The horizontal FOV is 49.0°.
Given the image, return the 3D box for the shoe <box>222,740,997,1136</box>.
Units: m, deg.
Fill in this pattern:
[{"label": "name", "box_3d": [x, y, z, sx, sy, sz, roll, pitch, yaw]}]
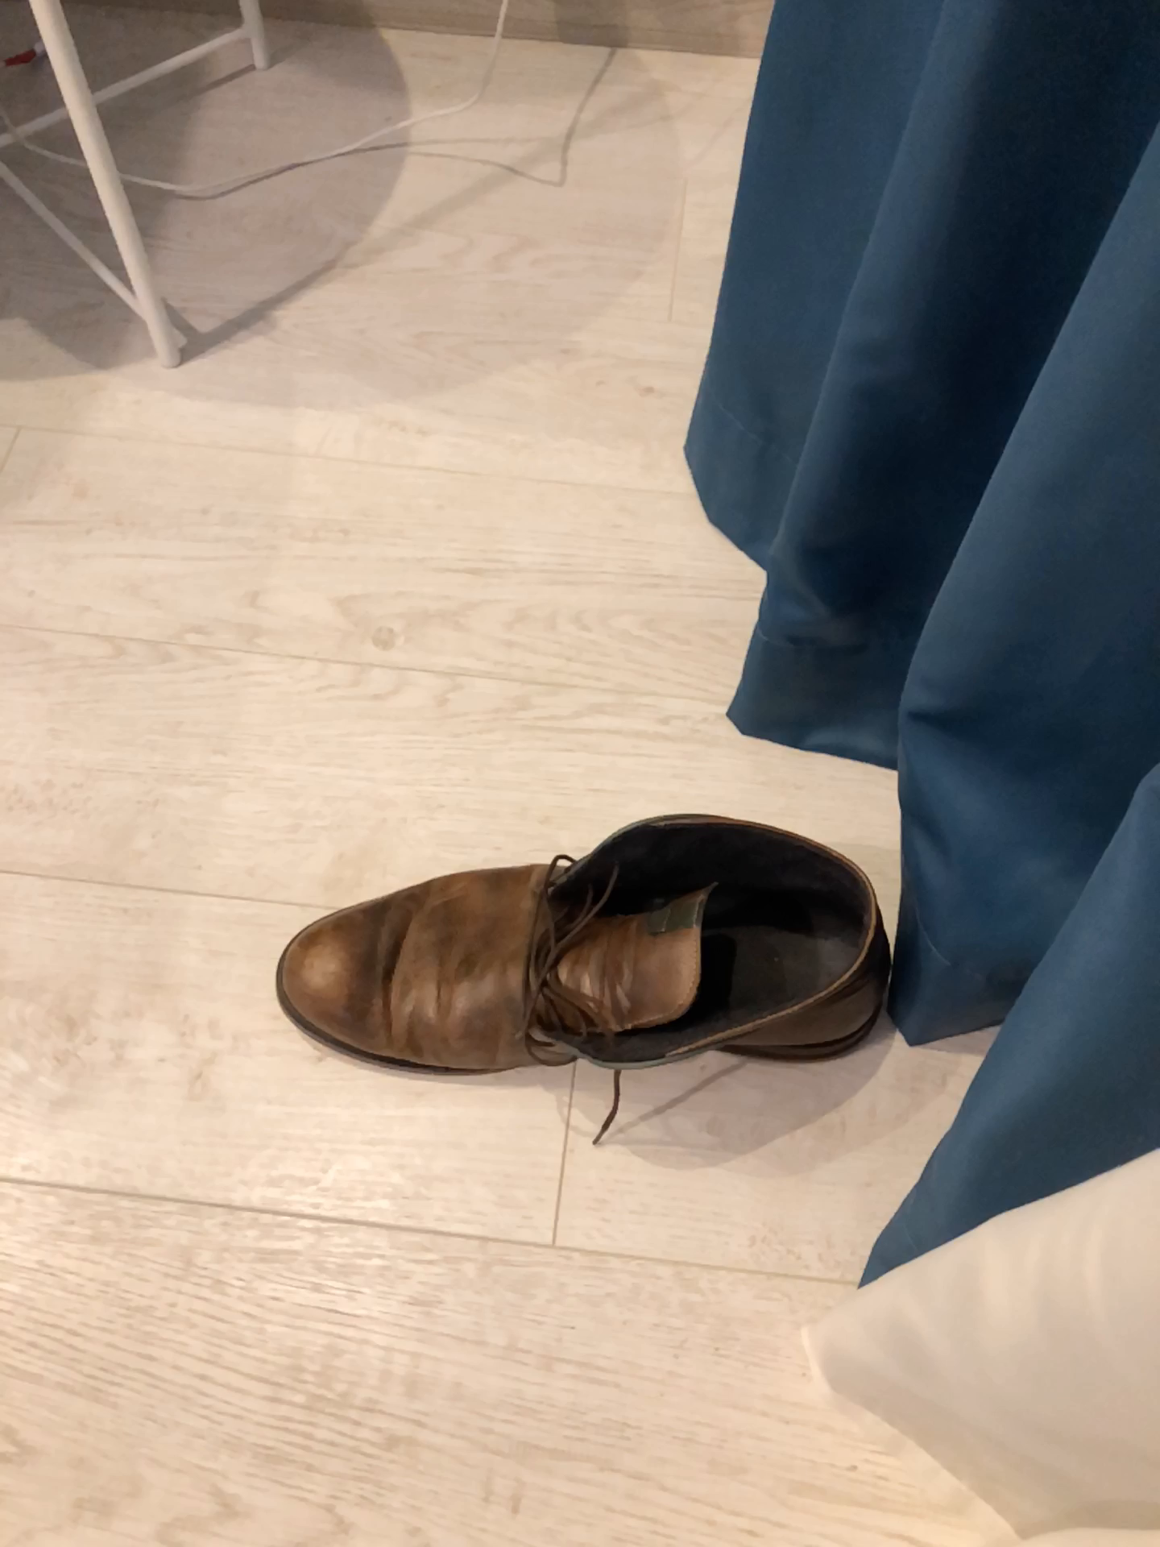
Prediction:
[{"label": "shoe", "box_3d": [0.013, 0.087, 0.627, 0.320, 0.159, 0.131, 2, 60, 0]}]
